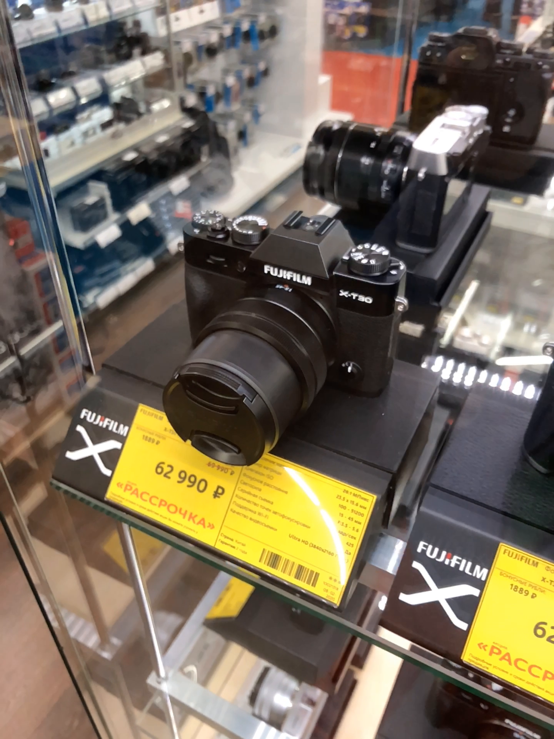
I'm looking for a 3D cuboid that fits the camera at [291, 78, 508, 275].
[{"bbox_3d":[0.091,-0.151,0.468,0.120,0.089,0.114,19,42,20],"label":"camera"}]

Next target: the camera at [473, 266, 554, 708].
[{"bbox_3d":[0.155,0.033,0.238,0.114,0.078,0.109,20,43,22],"label":"camera"}]

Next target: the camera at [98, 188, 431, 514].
[{"bbox_3d":[-0.001,-0.017,0.310,0.114,0.089,0.111,18,42,19],"label":"camera"}]
